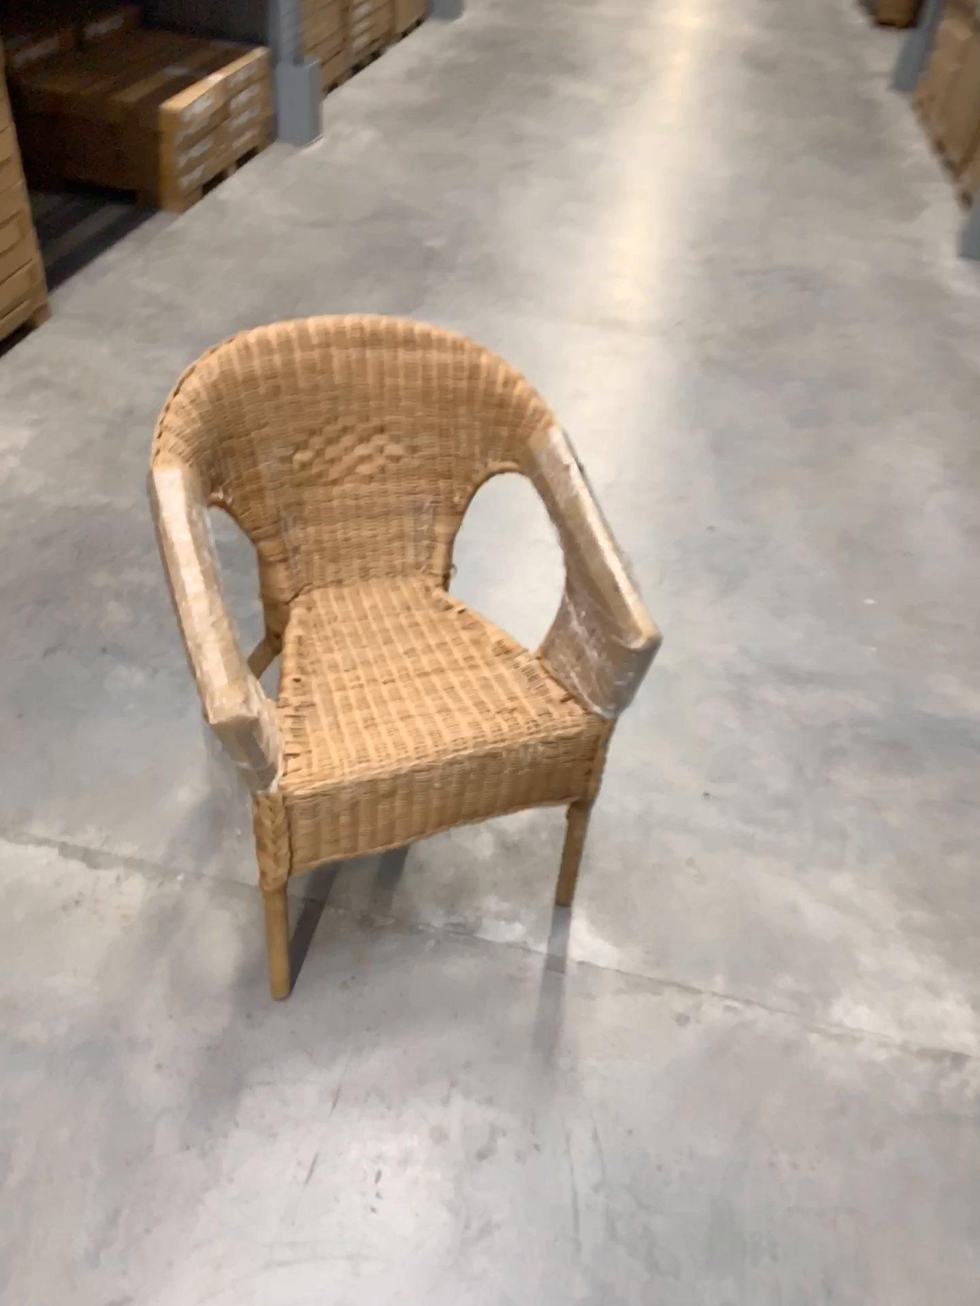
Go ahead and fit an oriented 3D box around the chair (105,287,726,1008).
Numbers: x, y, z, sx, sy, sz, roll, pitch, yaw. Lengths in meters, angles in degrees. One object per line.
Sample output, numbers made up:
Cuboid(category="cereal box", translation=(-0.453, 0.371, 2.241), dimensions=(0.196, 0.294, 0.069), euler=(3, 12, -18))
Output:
Cuboid(category="chair", translation=(-0.165, -0.031, 1.502), dimensions=(0.600, 0.757, 0.652), euler=(-12, 46, -20))
